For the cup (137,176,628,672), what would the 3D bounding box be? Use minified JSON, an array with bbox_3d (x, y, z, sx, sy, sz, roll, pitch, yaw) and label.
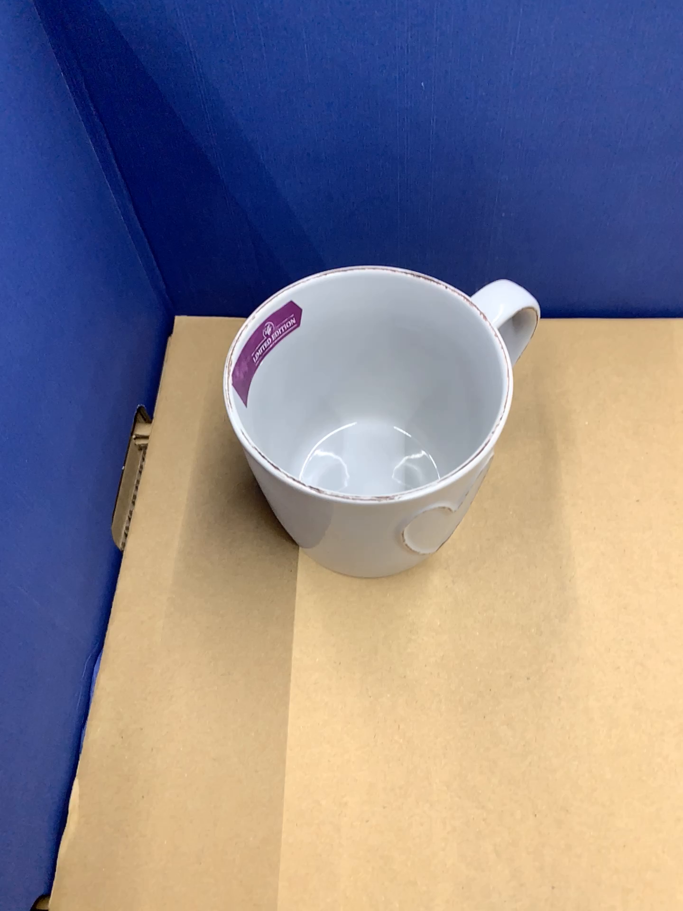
[{"bbox_3d":[0.017,-0.013,0.250,0.091,0.085,0.125,34,67,23],"label":"cup"}]
